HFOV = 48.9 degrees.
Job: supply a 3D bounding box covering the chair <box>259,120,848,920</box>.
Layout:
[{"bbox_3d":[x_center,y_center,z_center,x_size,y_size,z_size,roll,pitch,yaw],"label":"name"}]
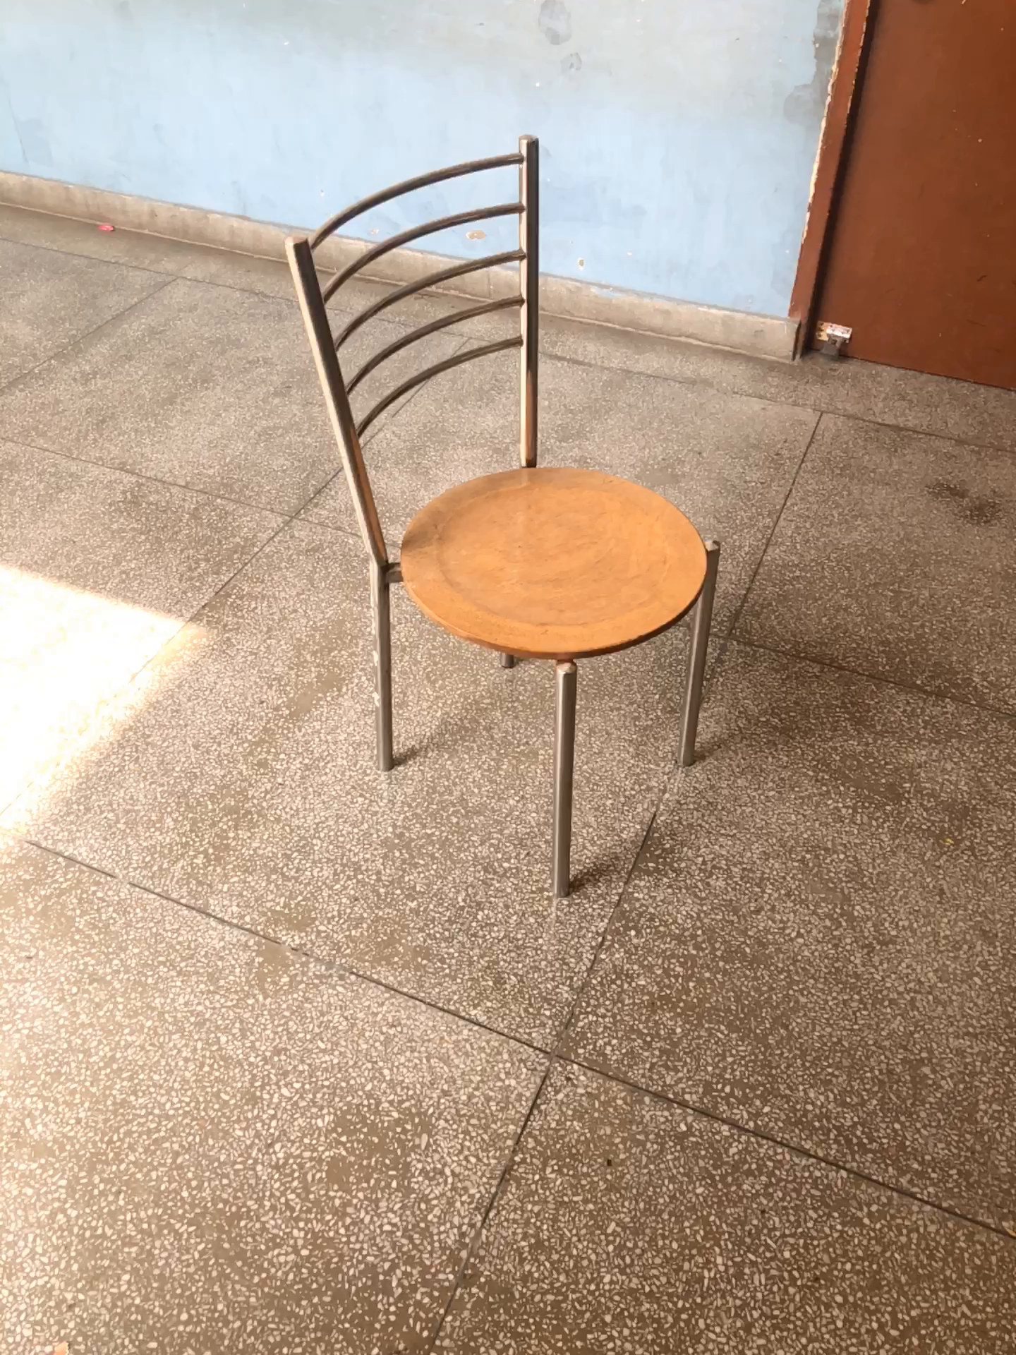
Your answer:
[{"bbox_3d":[0.052,-0.178,1.375,0.421,0.777,0.421,28,49,27],"label":"chair"}]
